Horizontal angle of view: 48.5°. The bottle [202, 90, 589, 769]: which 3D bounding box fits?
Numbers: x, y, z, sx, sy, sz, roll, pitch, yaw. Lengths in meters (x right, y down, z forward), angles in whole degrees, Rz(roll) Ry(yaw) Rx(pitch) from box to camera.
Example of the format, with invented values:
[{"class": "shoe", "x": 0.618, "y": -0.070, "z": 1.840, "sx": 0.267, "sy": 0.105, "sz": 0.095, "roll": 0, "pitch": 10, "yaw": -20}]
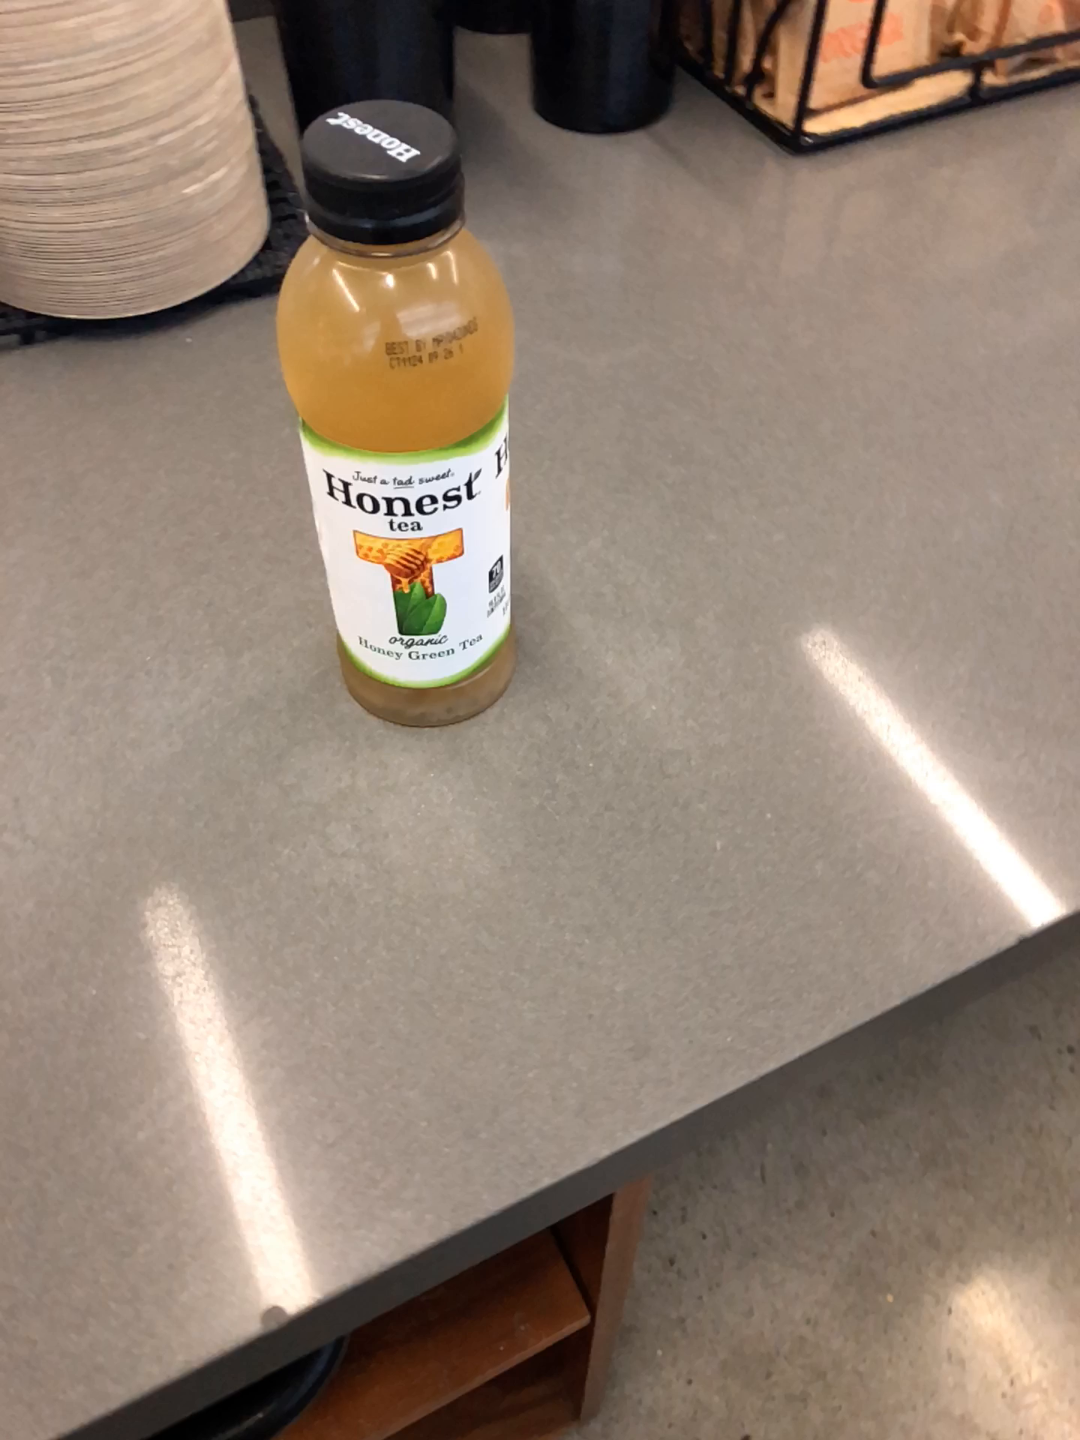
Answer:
[{"class": "bottle", "x": -0.038, "y": -0.080, "z": 0.382, "sx": 0.090, "sy": 0.189, "sz": 0.090, "roll": 0, "pitch": 52, "yaw": 0}]
